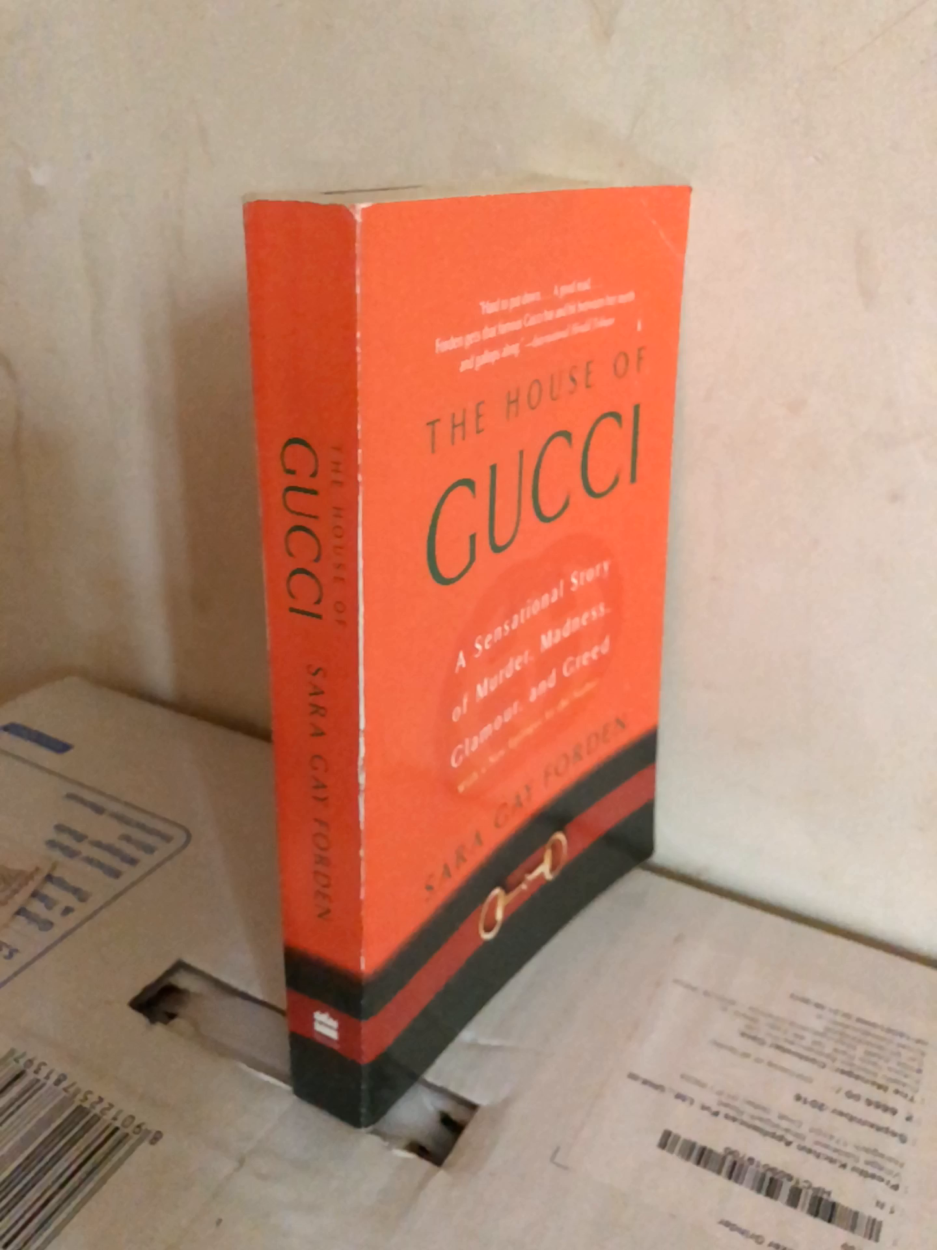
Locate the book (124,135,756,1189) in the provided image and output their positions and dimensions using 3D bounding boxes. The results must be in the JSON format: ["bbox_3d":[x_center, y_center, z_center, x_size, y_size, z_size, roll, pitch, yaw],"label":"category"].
[{"bbox_3d":[0.011,-0.004,0.288,0.040,0.229,0.191,17,31,29],"label":"book"}]
